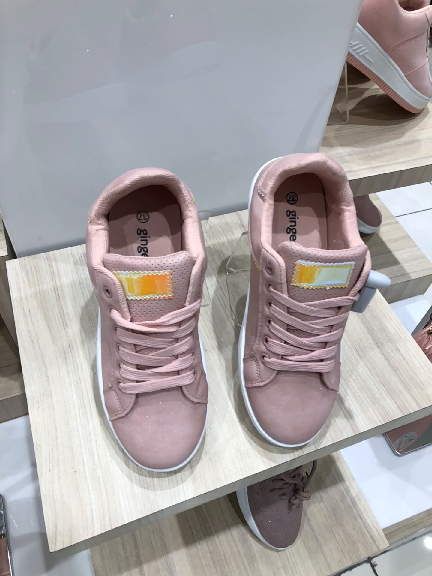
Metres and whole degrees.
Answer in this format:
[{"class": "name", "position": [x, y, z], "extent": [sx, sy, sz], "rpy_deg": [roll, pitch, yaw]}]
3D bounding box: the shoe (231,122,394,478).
[{"class": "shoe", "position": [0.075, 0.010, 0.403], "extent": [0.099, 0.094, 0.261], "rpy_deg": [3, 88, -6]}]

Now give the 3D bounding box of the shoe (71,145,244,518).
[{"class": "shoe", "position": [-0.046, 0.027, 0.378], "extent": [0.103, 0.094, 0.252], "rpy_deg": [-4, 91, -9]}]
